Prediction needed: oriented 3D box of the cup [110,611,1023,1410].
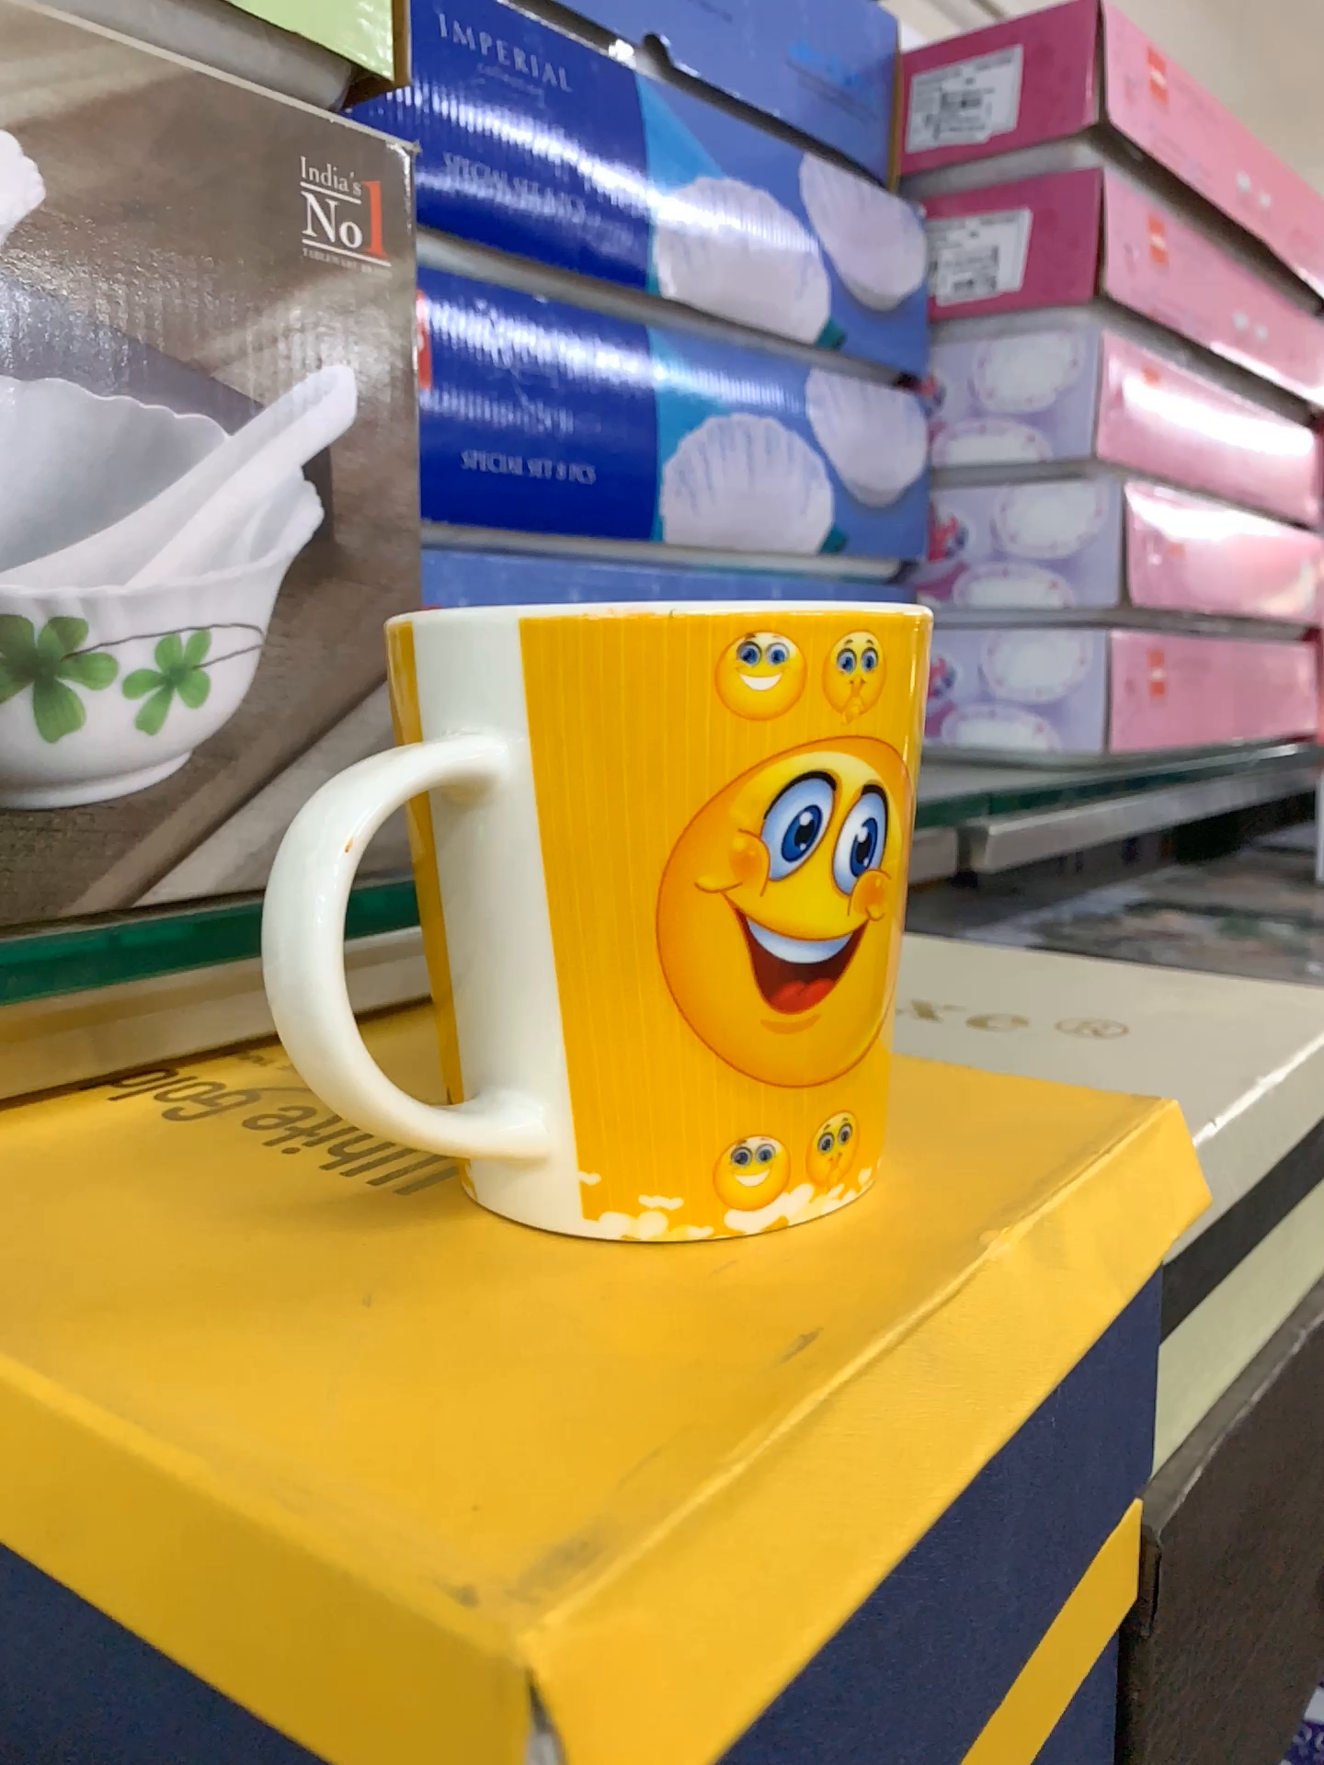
[{"bbox_3d":[-0.012,0.006,0.217,0.120,0.090,0.070,-6,11,-39],"label":"cup"}]
